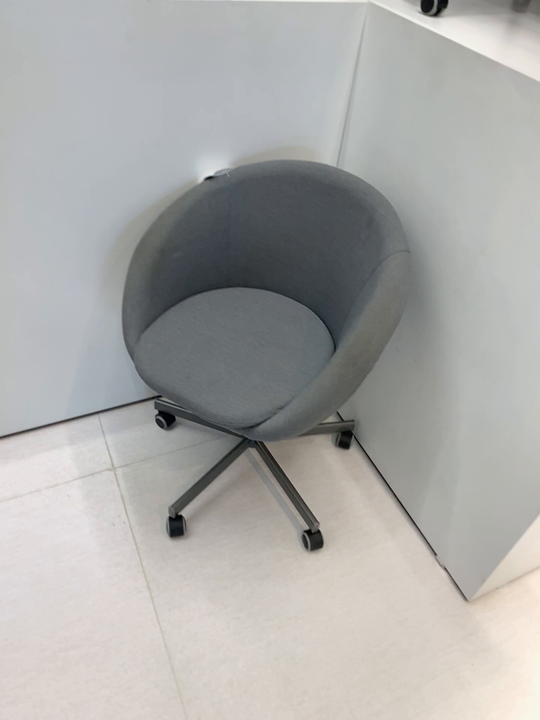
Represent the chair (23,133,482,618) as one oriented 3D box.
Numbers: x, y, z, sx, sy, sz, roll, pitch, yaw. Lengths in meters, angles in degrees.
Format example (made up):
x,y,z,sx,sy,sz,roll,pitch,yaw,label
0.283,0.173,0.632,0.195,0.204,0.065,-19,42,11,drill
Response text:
x,y,z,sx,sy,sz,roll,pitch,yaw,label
0.001,-0.009,1.487,0.721,0.767,0.833,23,45,16,chair
